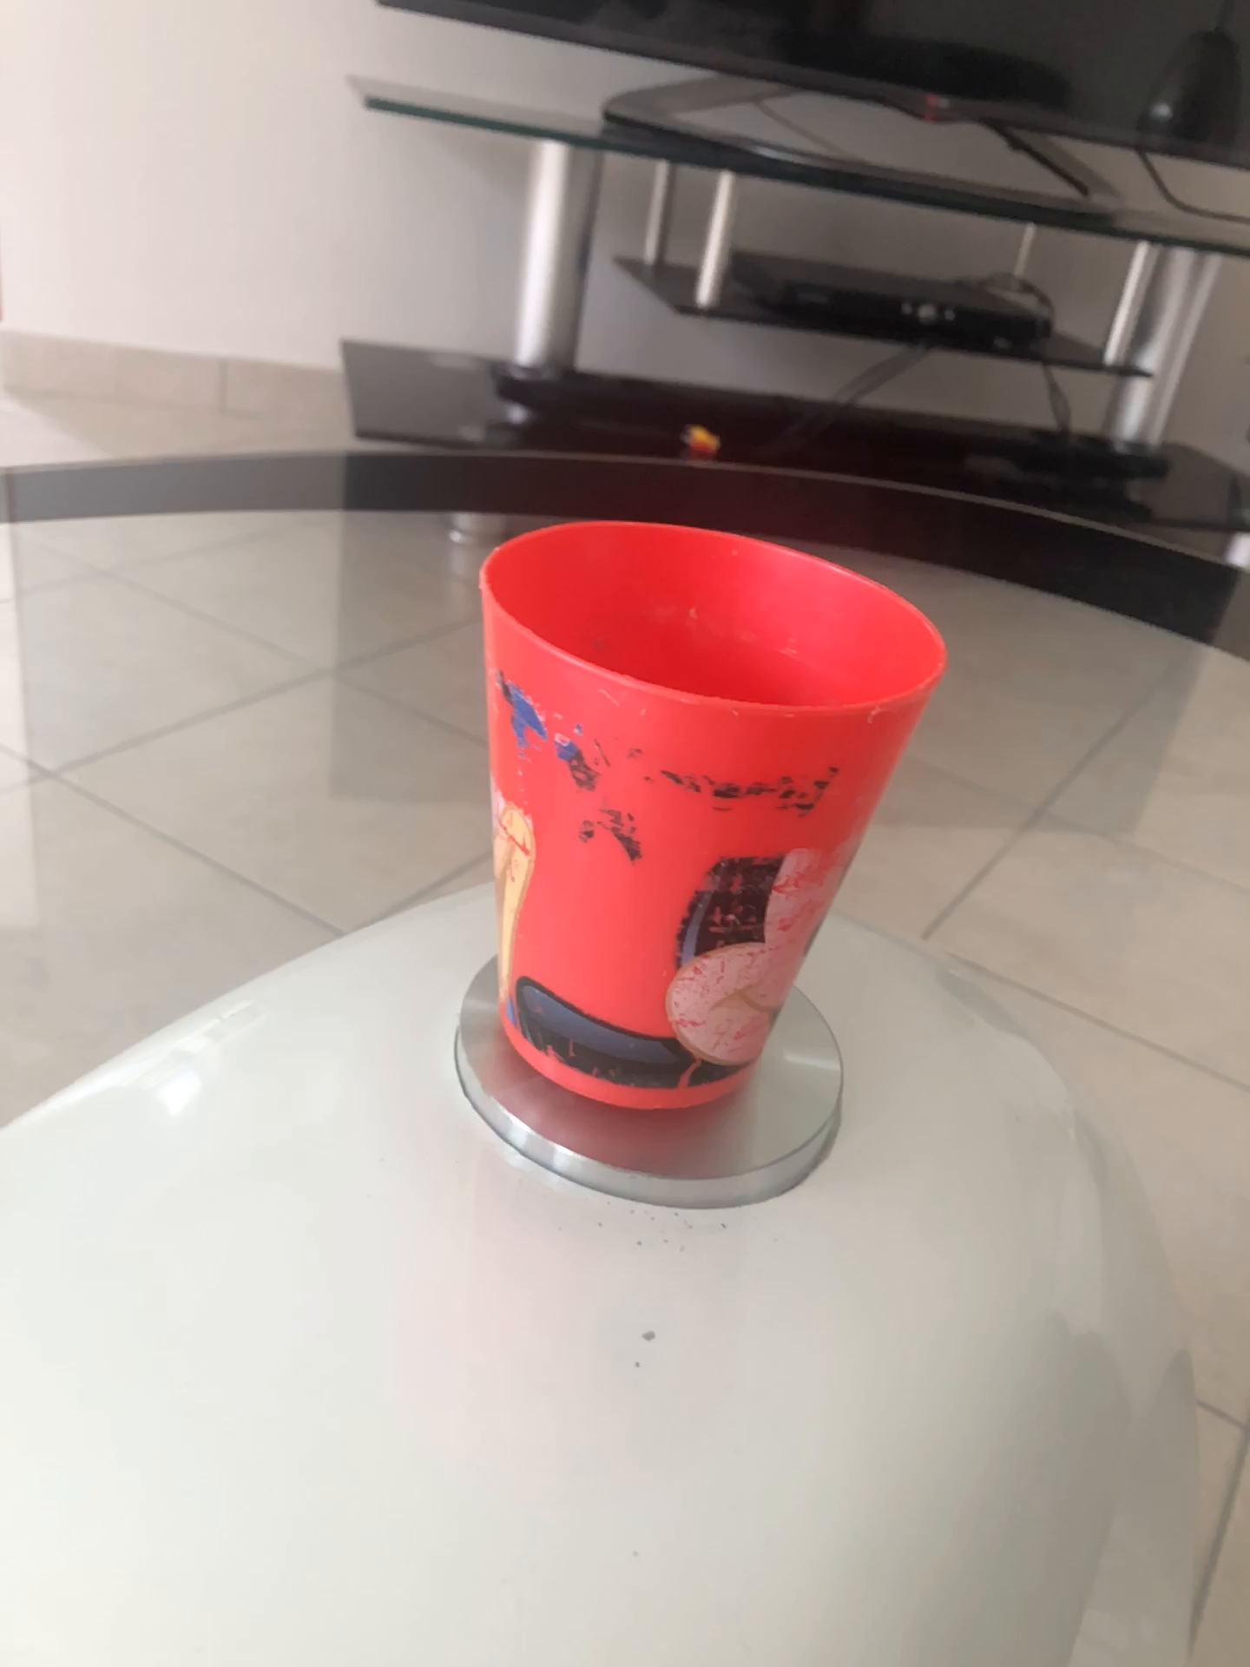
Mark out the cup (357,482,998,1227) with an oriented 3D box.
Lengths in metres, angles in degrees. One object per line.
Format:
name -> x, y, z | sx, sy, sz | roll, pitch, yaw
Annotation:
cup -> 0.010, -0.002, 0.251 | 0.080, 0.089, 0.081 | 8, 28, -4
